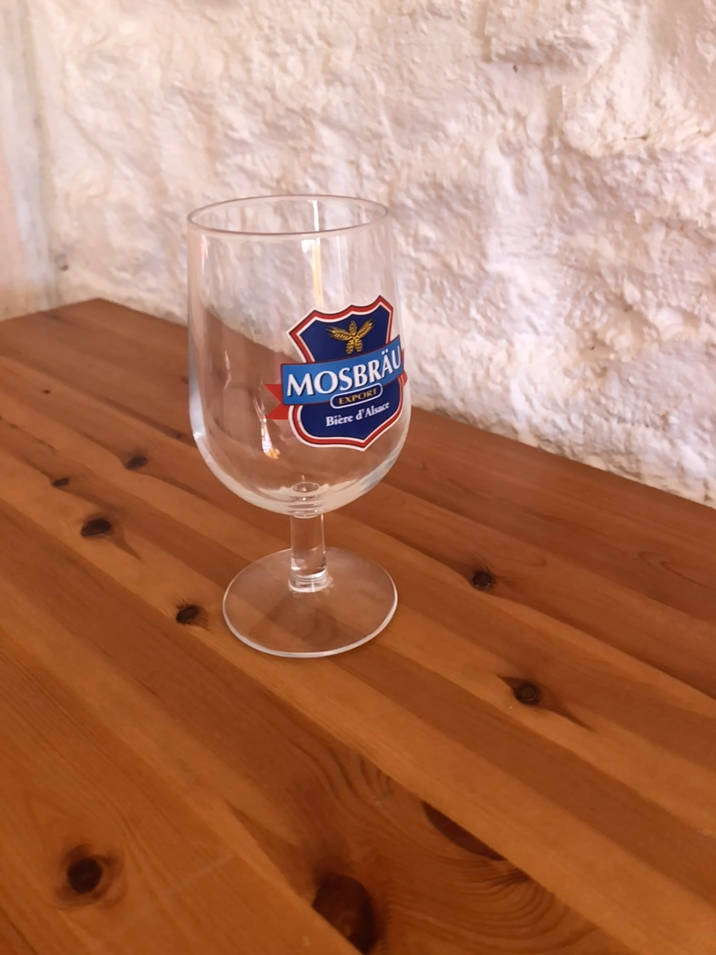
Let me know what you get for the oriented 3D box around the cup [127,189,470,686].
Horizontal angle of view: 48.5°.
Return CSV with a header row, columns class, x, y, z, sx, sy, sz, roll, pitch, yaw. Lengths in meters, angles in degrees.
class,x,y,z,sx,sy,sz,roll,pitch,yaw
cup,-0.020,-0.019,0.279,0.079,0.142,0.077,0,27,0
